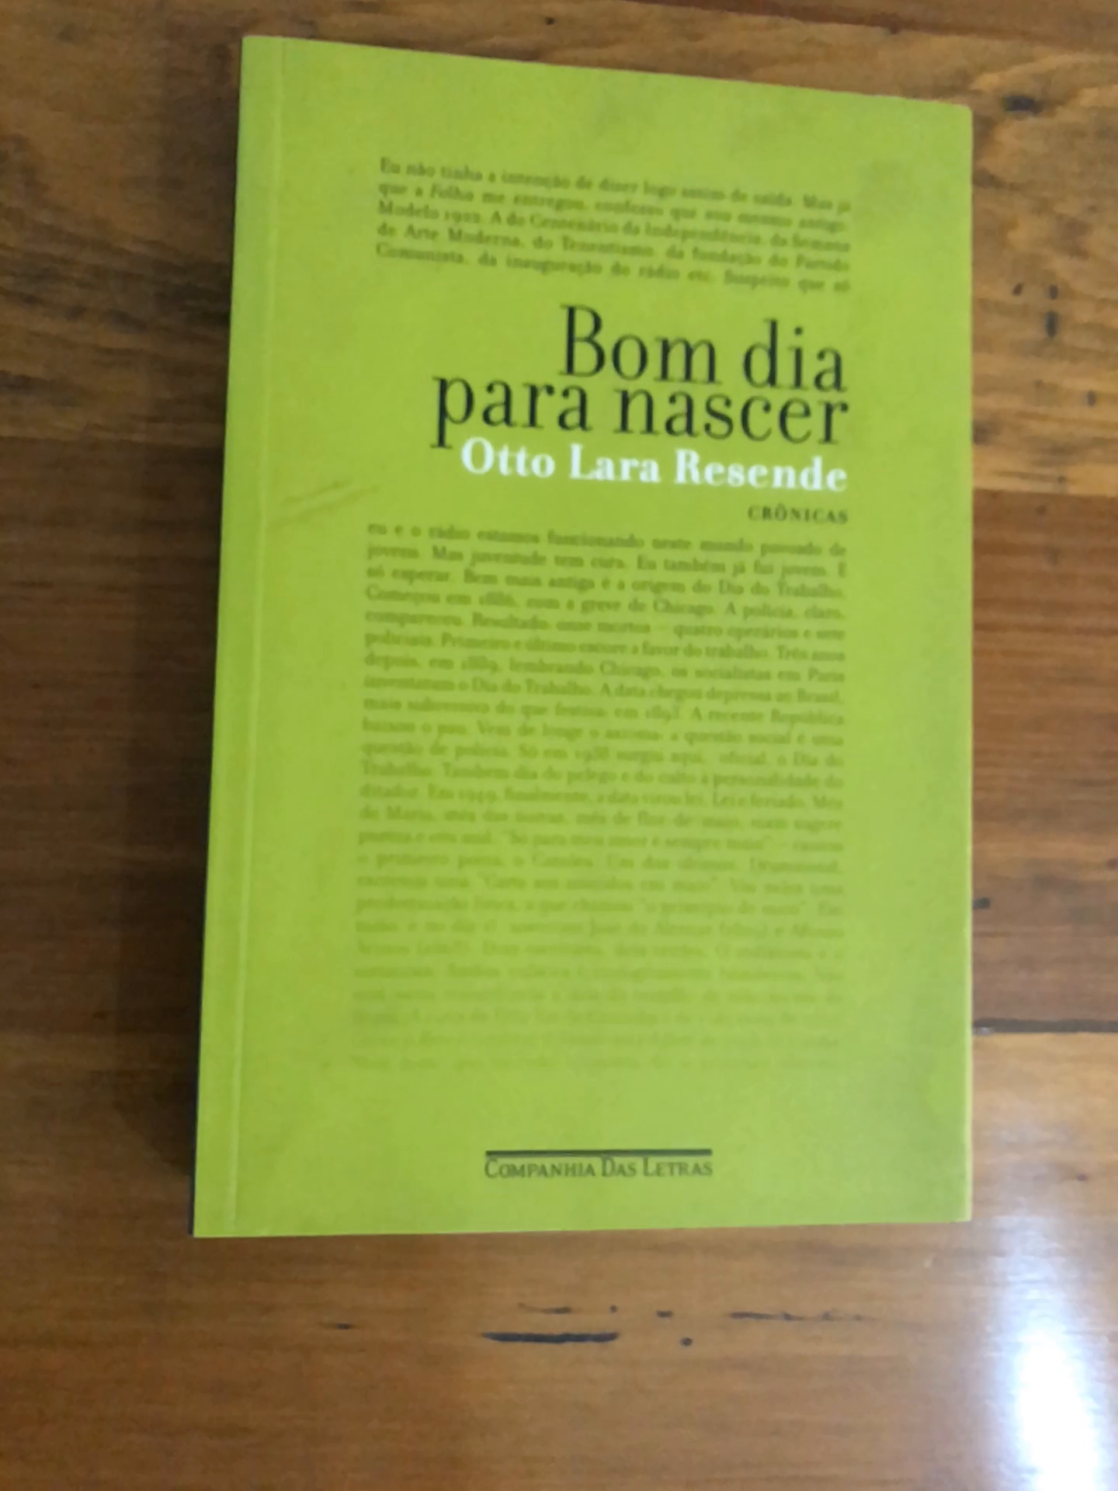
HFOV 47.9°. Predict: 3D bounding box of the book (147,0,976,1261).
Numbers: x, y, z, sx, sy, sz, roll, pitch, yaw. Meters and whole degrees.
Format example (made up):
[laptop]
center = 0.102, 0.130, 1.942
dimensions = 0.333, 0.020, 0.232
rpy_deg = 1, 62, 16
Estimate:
[book]
center = 0.004, -0.020, 0.228
dimensions = 0.136, 0.030, 0.208
rpy_deg = 2, 85, -8
